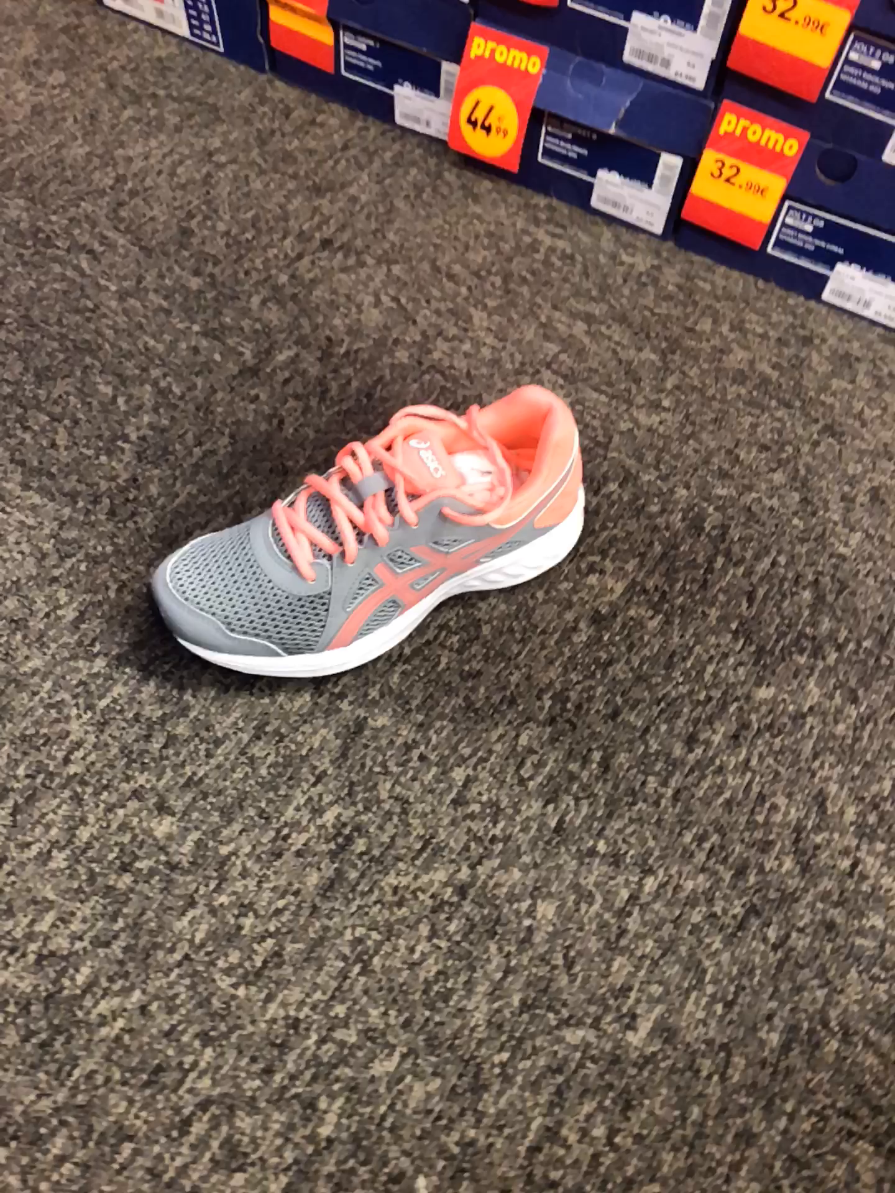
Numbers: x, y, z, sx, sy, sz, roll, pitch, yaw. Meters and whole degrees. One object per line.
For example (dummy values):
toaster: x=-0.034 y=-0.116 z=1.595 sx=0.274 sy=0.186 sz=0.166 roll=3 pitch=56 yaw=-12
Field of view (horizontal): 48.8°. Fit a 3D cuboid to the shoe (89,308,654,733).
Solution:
shoe: x=-0.037 y=-0.045 z=0.524 sx=0.251 sy=0.109 sz=0.110 roll=-21 pitch=60 yaw=-18
